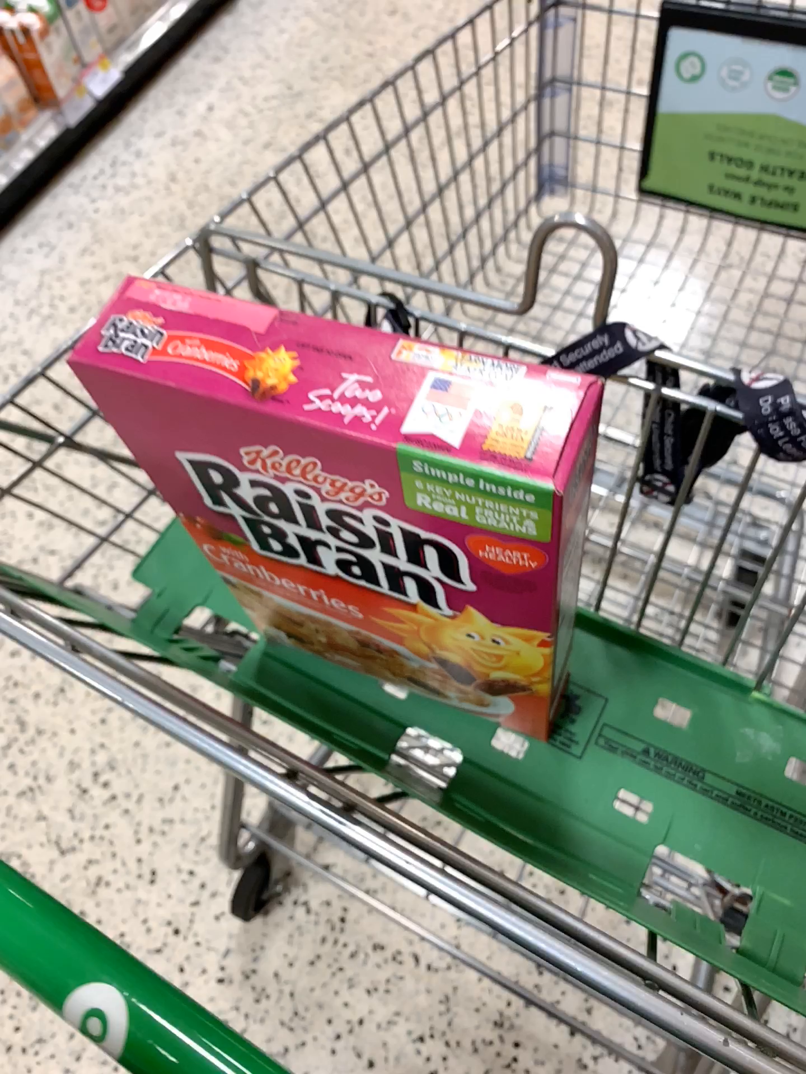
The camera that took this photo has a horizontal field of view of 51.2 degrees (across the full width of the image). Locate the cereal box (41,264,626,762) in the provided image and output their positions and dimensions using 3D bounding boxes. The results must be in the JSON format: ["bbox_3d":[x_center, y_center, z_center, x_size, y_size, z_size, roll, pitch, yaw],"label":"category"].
[{"bbox_3d":[-0.011,0.018,0.442,0.210,0.327,0.050,17,66,17],"label":"cereal box"}]
